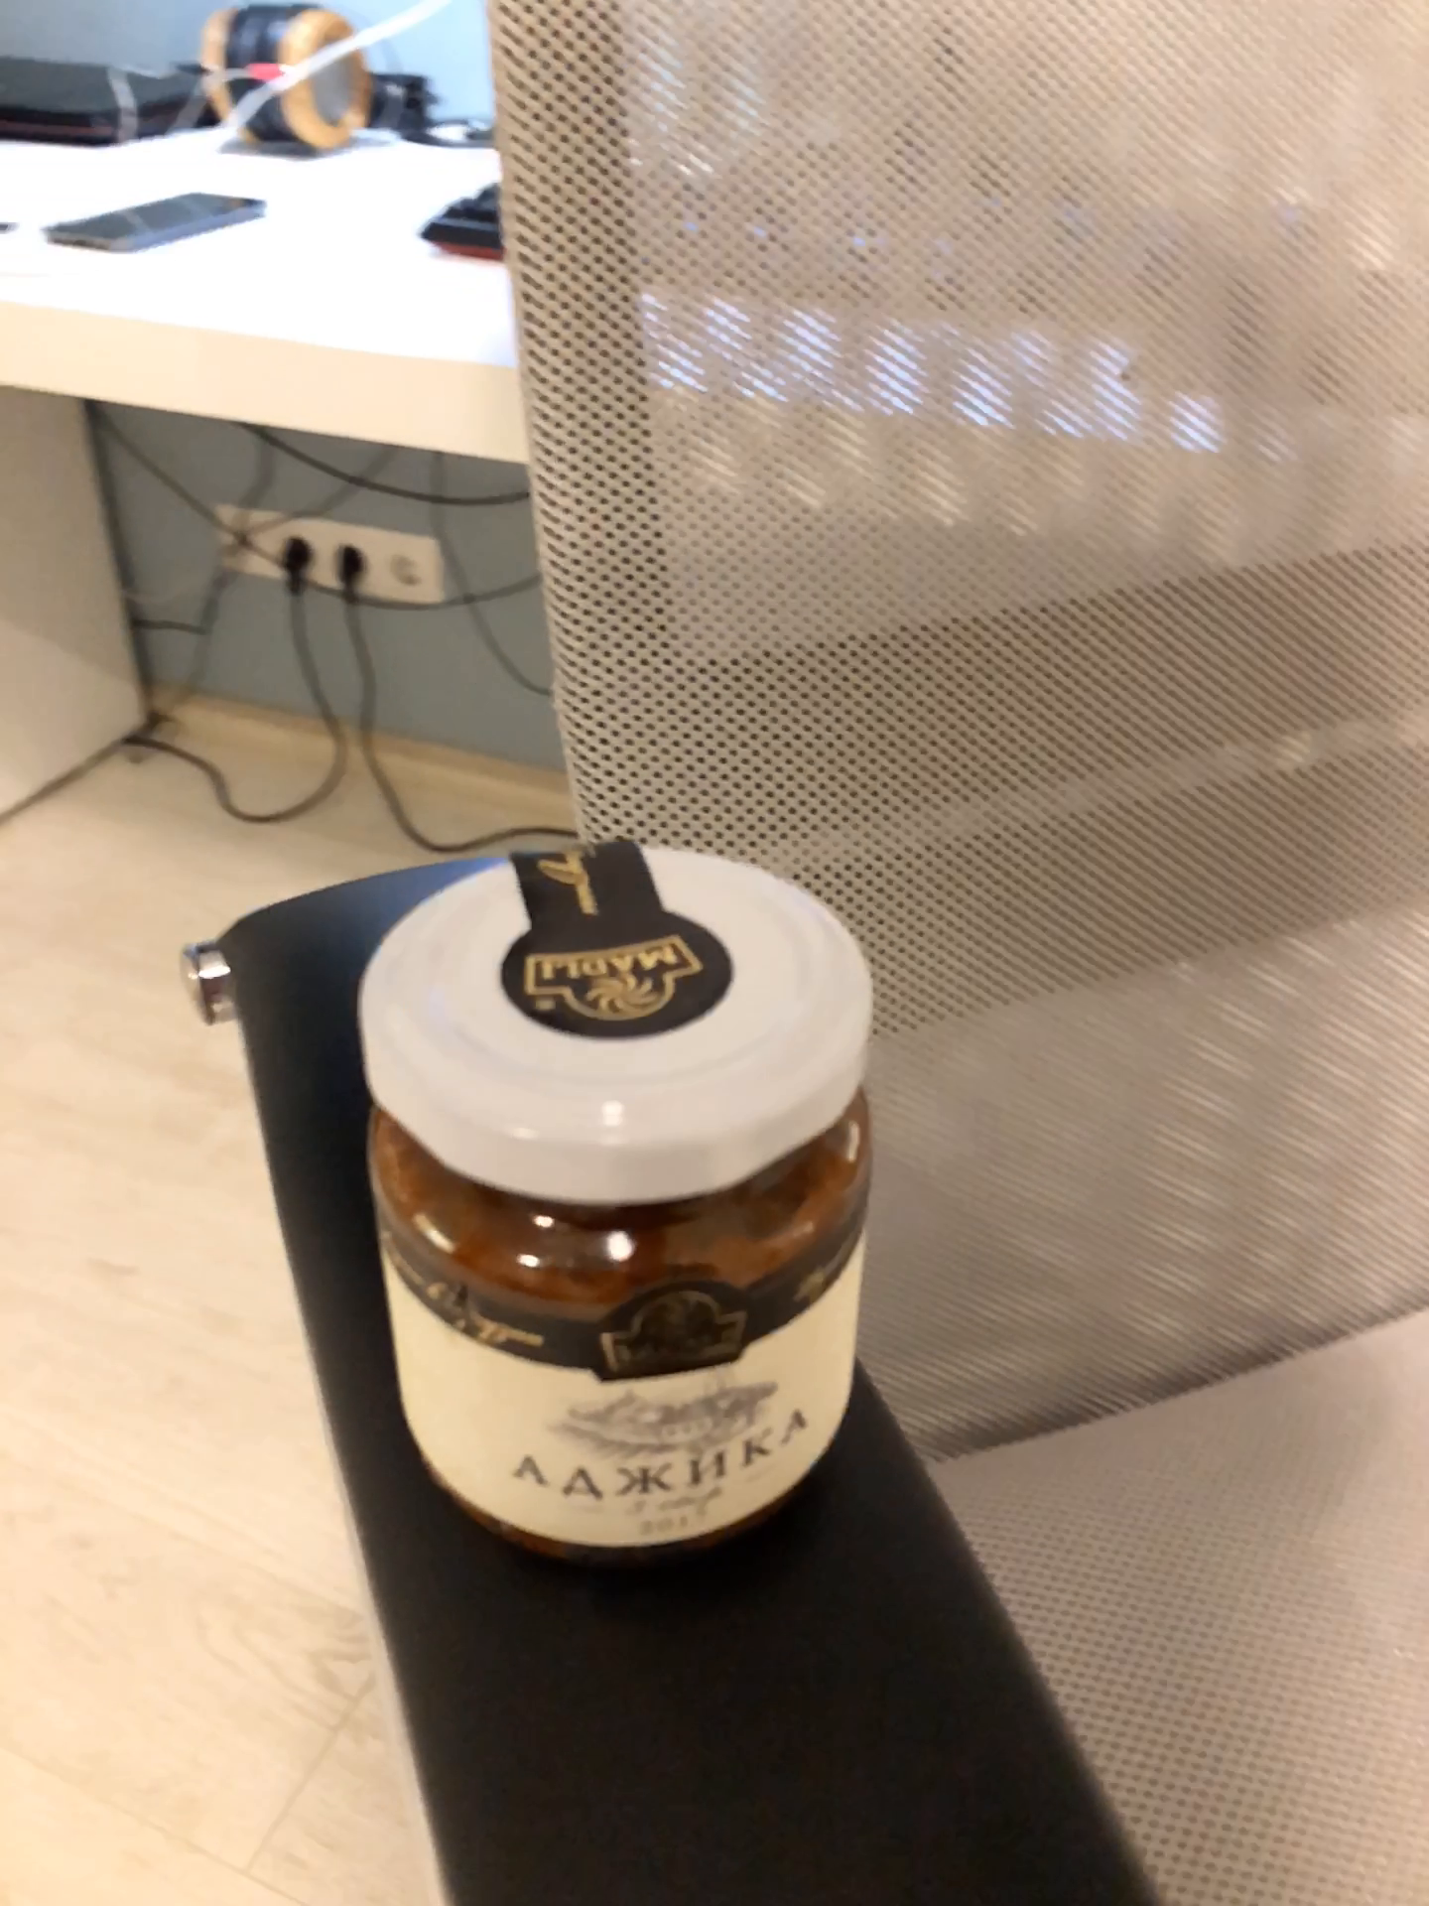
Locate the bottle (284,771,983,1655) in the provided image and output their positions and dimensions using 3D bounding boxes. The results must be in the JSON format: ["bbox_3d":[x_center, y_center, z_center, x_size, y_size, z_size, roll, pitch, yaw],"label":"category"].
[{"bbox_3d":[-0.011,0.027,0.179,0.060,0.069,0.060,-6,35,-8],"label":"bottle"}]
